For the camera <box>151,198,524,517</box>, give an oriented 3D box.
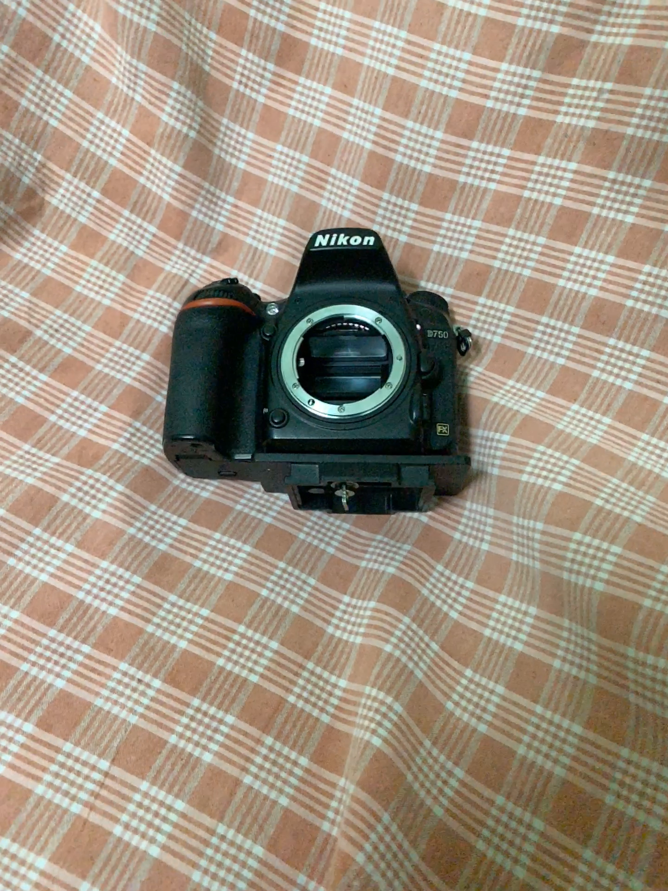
[{"bbox_3d":[0.003,-0.038,0.328,0.145,0.085,0.125,0,70,2],"label":"camera"}]
